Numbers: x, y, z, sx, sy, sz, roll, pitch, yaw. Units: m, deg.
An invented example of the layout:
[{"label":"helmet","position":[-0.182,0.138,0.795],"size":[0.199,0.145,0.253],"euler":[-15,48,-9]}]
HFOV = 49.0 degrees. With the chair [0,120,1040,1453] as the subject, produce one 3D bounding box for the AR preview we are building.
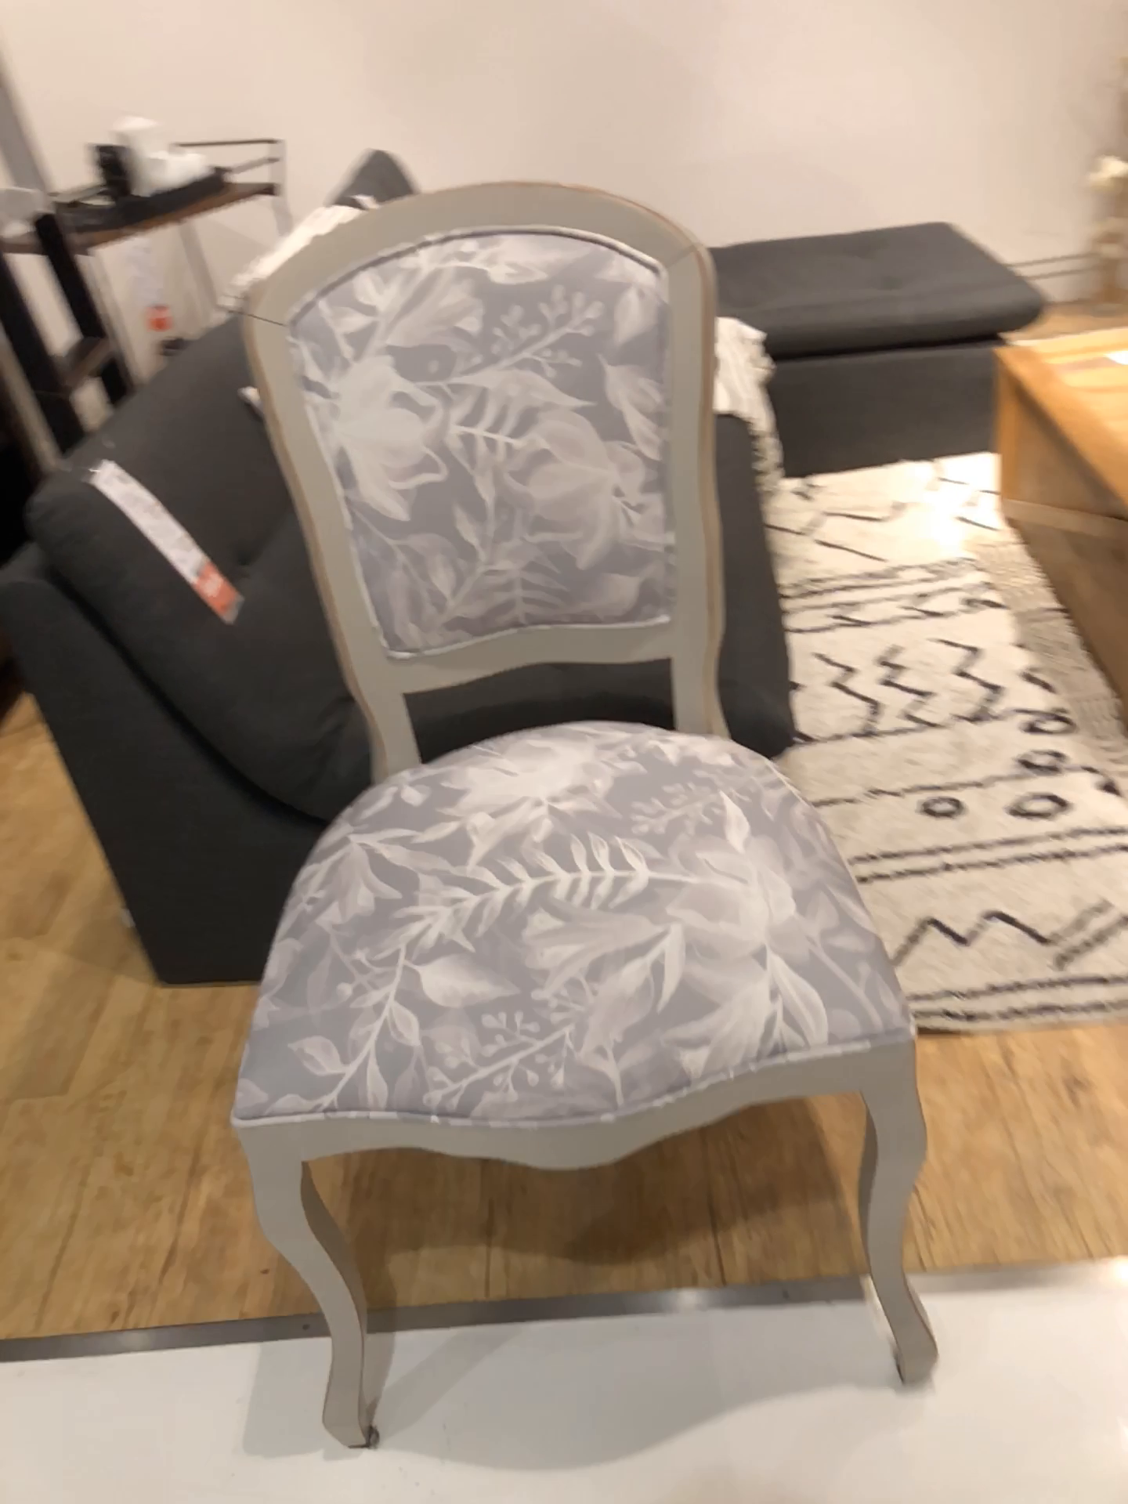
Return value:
[{"label":"chair","position":[0.003,0.059,1.060],"size":[0.570,0.943,0.534],"euler":[-7,33,5]}]
